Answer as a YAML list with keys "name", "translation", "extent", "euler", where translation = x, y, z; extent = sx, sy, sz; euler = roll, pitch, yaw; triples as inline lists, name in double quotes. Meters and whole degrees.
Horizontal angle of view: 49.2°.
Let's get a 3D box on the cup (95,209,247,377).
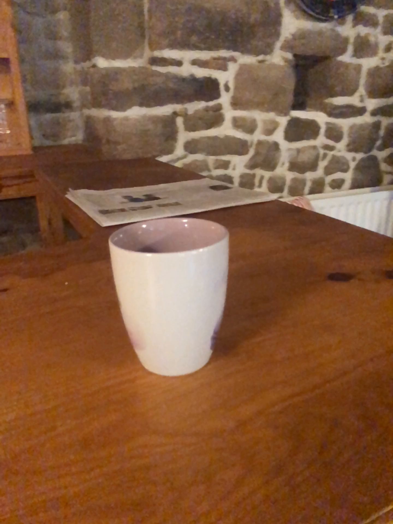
- name: "cup"
  translation: [-0.013, 0.017, 0.355]
  extent: [0.100, 0.096, 0.120]
  euler: [1, 20, 3]
